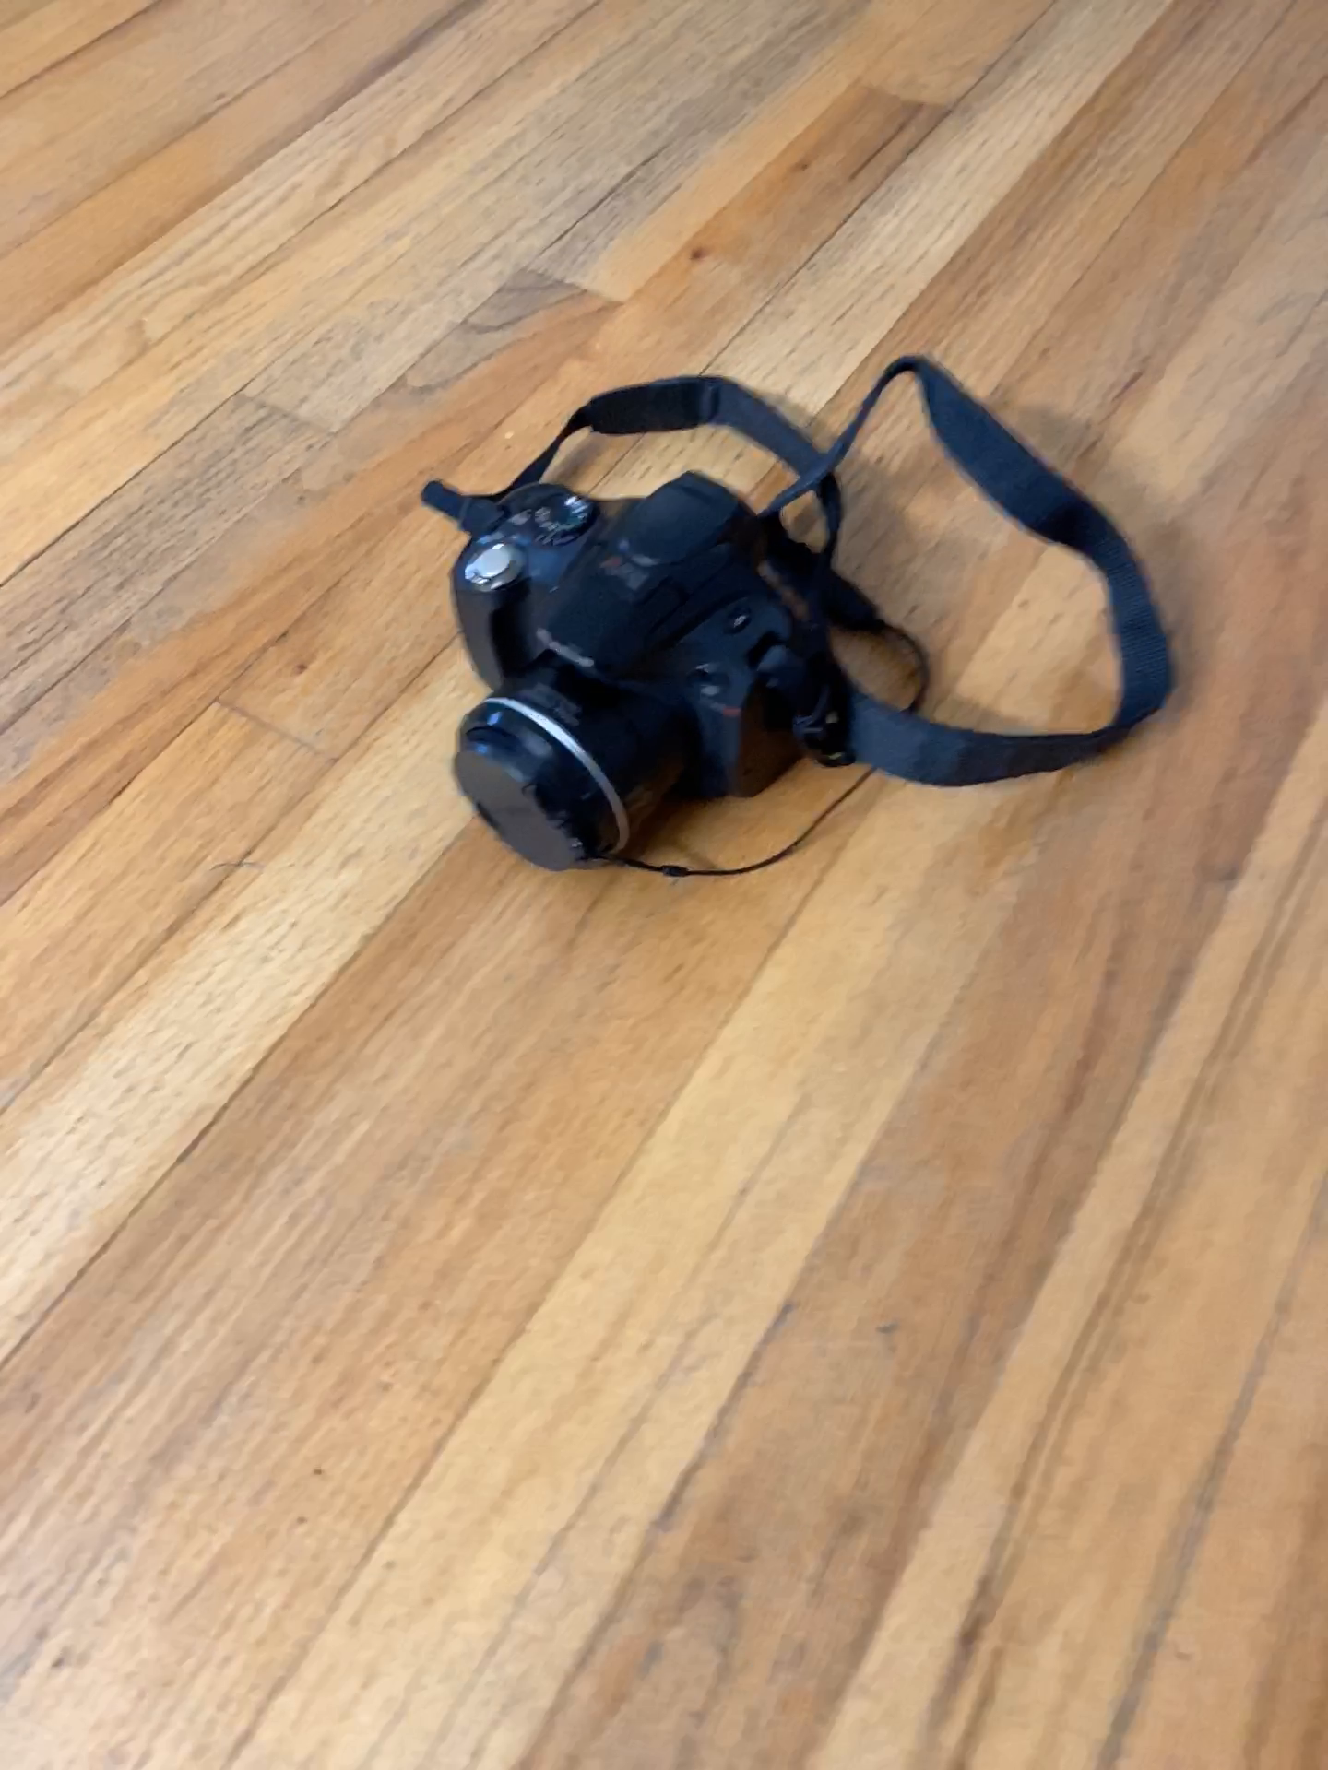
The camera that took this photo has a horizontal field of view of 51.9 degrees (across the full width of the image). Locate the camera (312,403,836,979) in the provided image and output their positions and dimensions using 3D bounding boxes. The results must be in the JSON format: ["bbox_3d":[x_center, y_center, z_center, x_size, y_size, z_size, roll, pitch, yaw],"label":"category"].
[{"bbox_3d":[-0.024,-0.065,0.461,0.110,0.110,0.120,29,63,20],"label":"camera"}]
